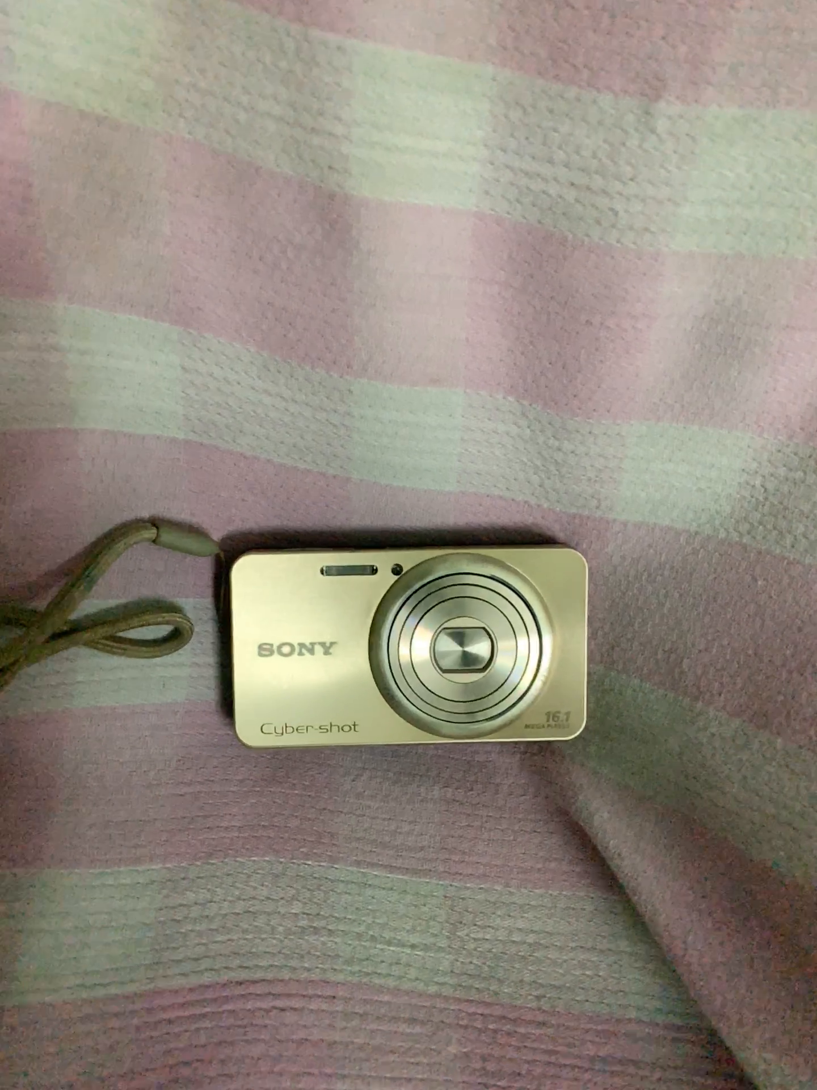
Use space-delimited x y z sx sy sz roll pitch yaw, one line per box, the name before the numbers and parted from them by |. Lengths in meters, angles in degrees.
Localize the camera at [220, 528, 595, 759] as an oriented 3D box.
camera | 0.000 0.024 0.222 0.091 0.027 0.053 -2 95 -3
